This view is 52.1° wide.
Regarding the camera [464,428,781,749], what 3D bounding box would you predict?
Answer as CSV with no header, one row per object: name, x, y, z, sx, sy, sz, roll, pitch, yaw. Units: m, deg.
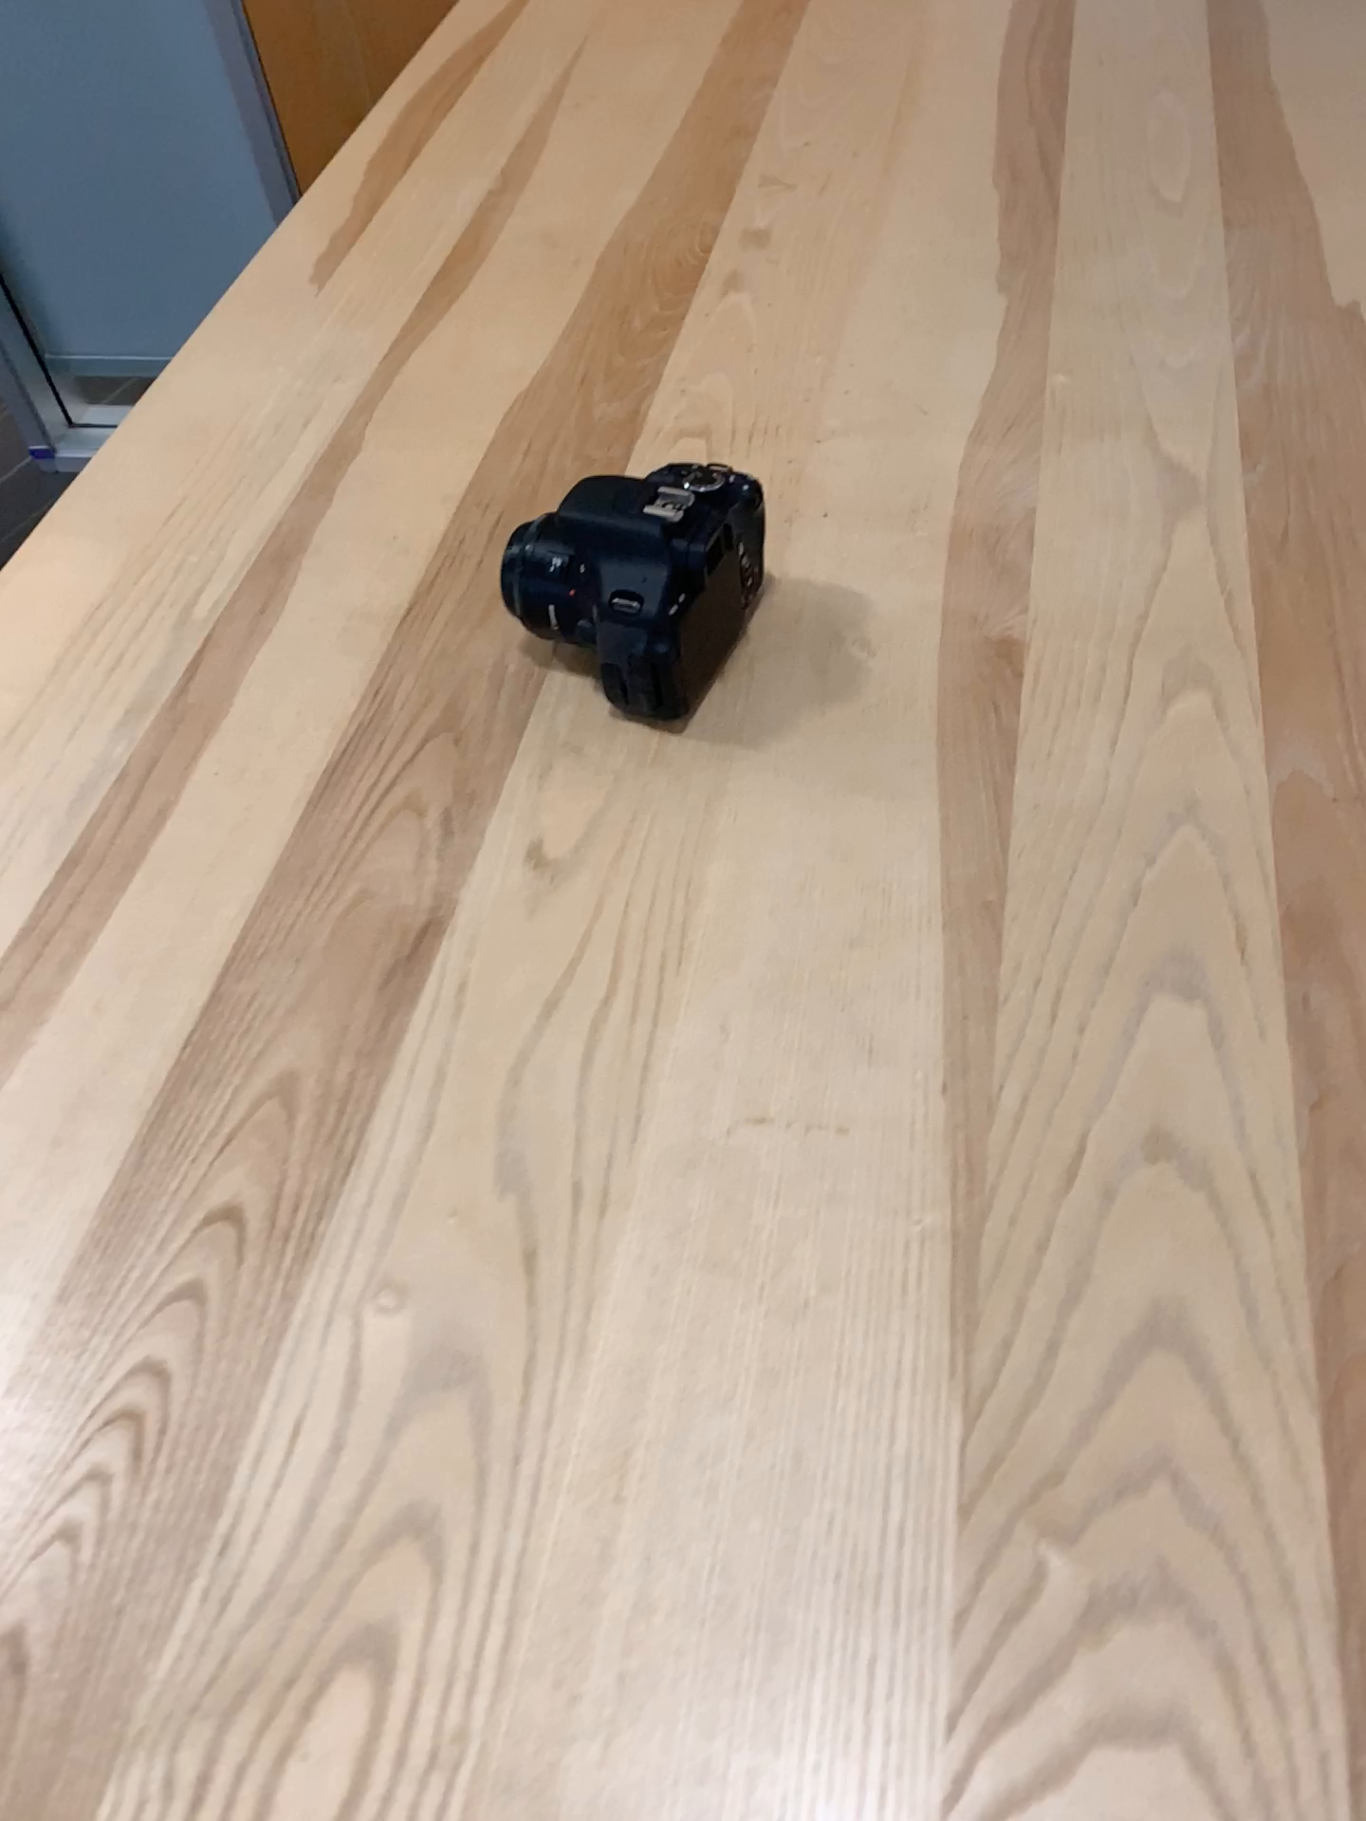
camera,-0.026,-0.172,0.738,0.116,0.094,0.123,15,54,19
